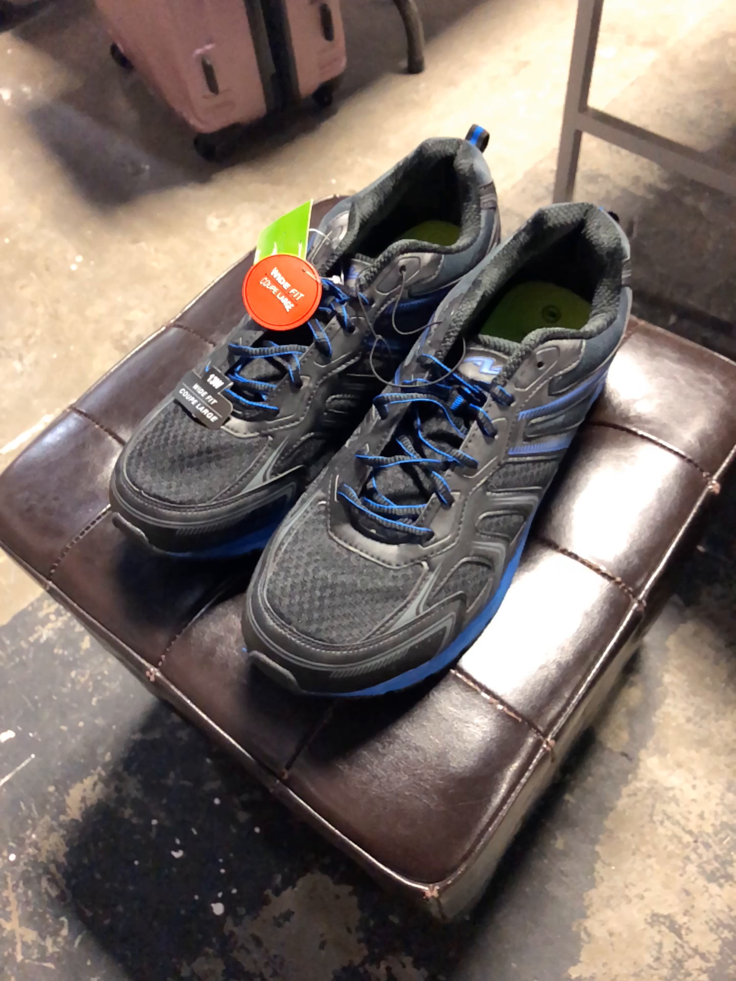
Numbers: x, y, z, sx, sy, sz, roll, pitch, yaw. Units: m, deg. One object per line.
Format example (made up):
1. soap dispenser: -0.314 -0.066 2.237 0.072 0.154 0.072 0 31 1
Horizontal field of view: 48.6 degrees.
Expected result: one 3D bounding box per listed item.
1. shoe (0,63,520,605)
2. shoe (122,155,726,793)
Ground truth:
1. shoe: -0.050 -0.096 0.458 0.120 0.119 0.281 34 67 24
2. shoe: 0.044 -0.026 0.424 0.130 0.099 0.311 30 65 22
